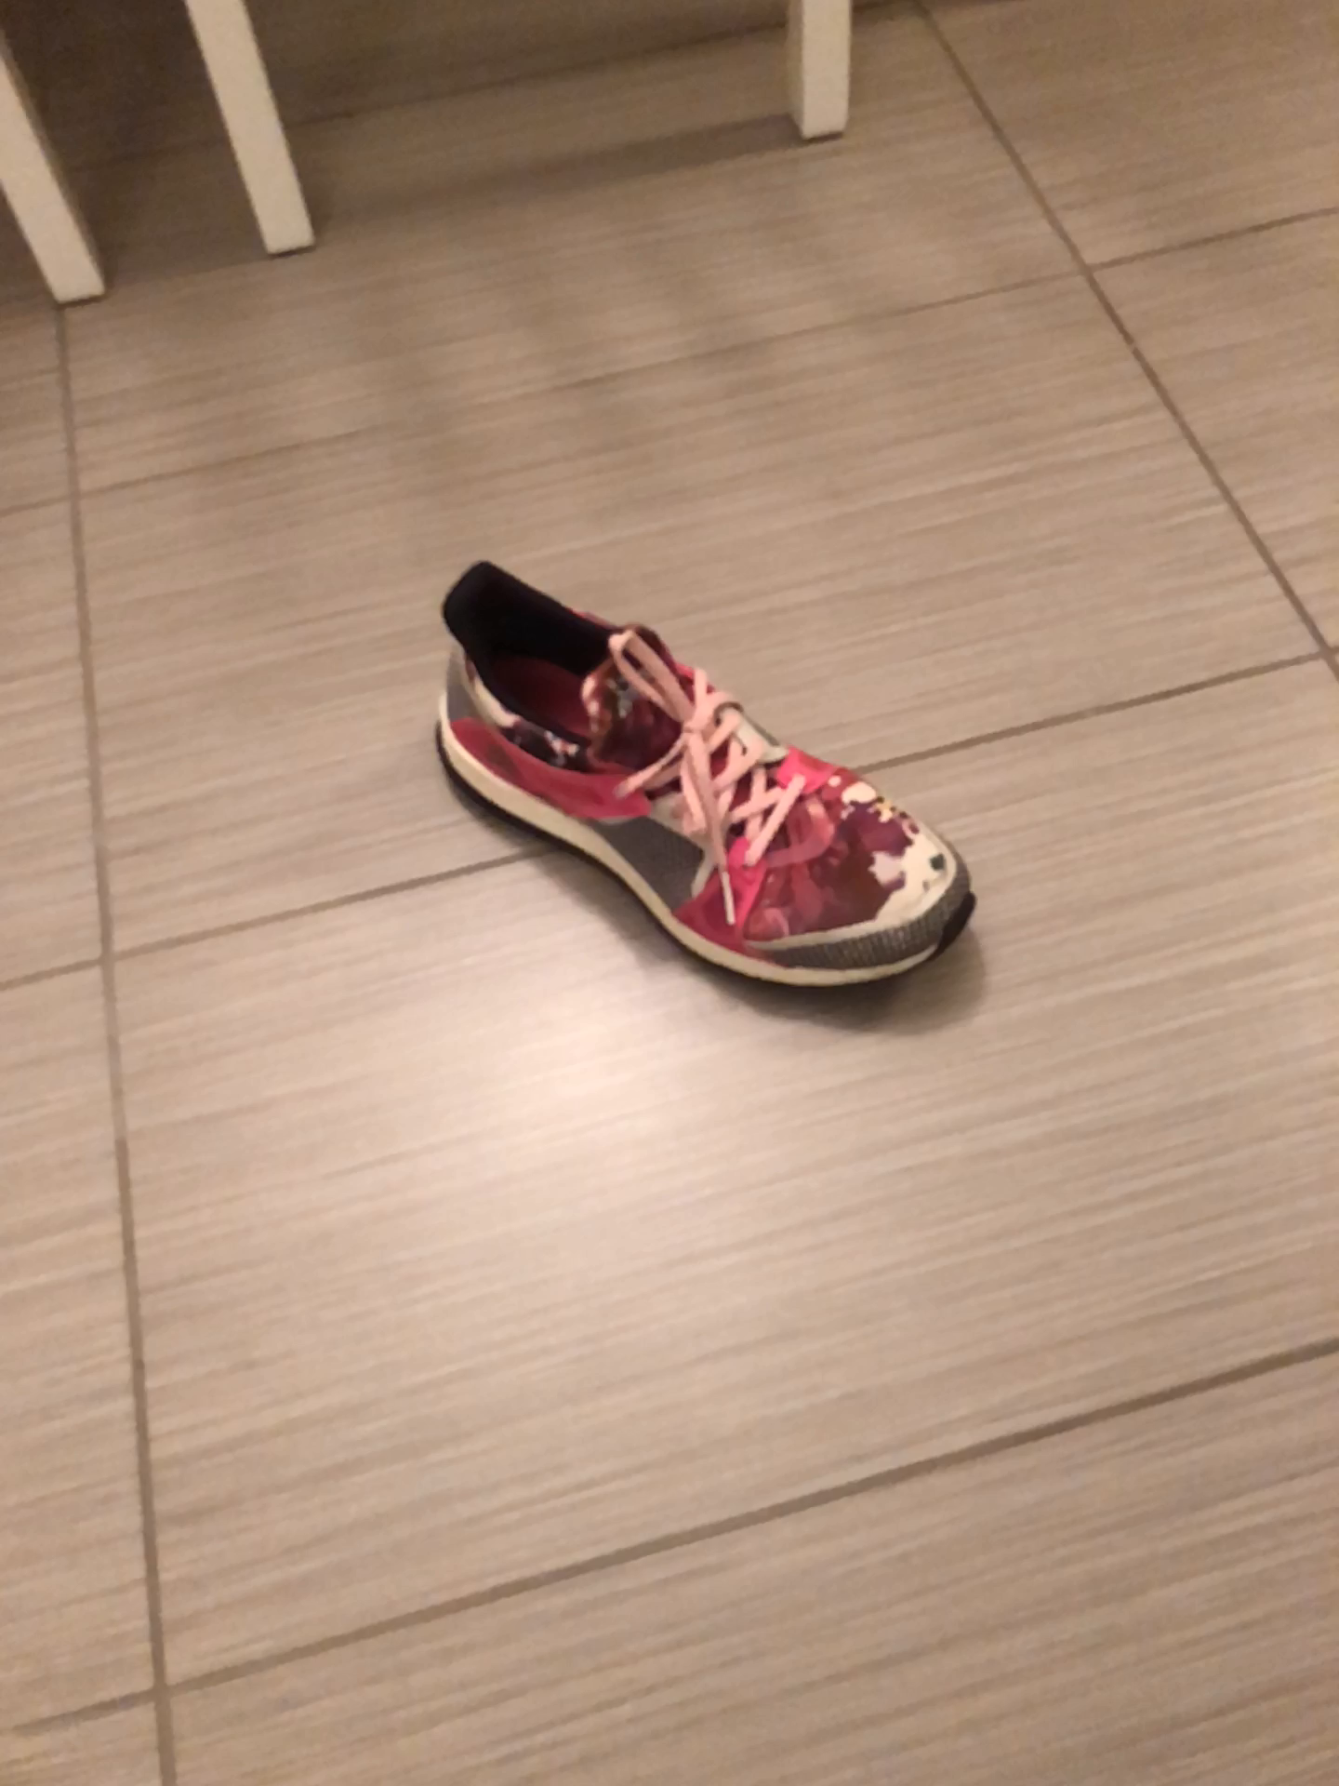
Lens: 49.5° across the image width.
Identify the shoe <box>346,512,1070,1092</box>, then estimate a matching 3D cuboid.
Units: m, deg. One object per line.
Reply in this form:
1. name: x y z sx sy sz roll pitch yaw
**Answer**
1. shoe: 0.012 -0.045 0.629 0.280 0.090 0.110 29 66 19
